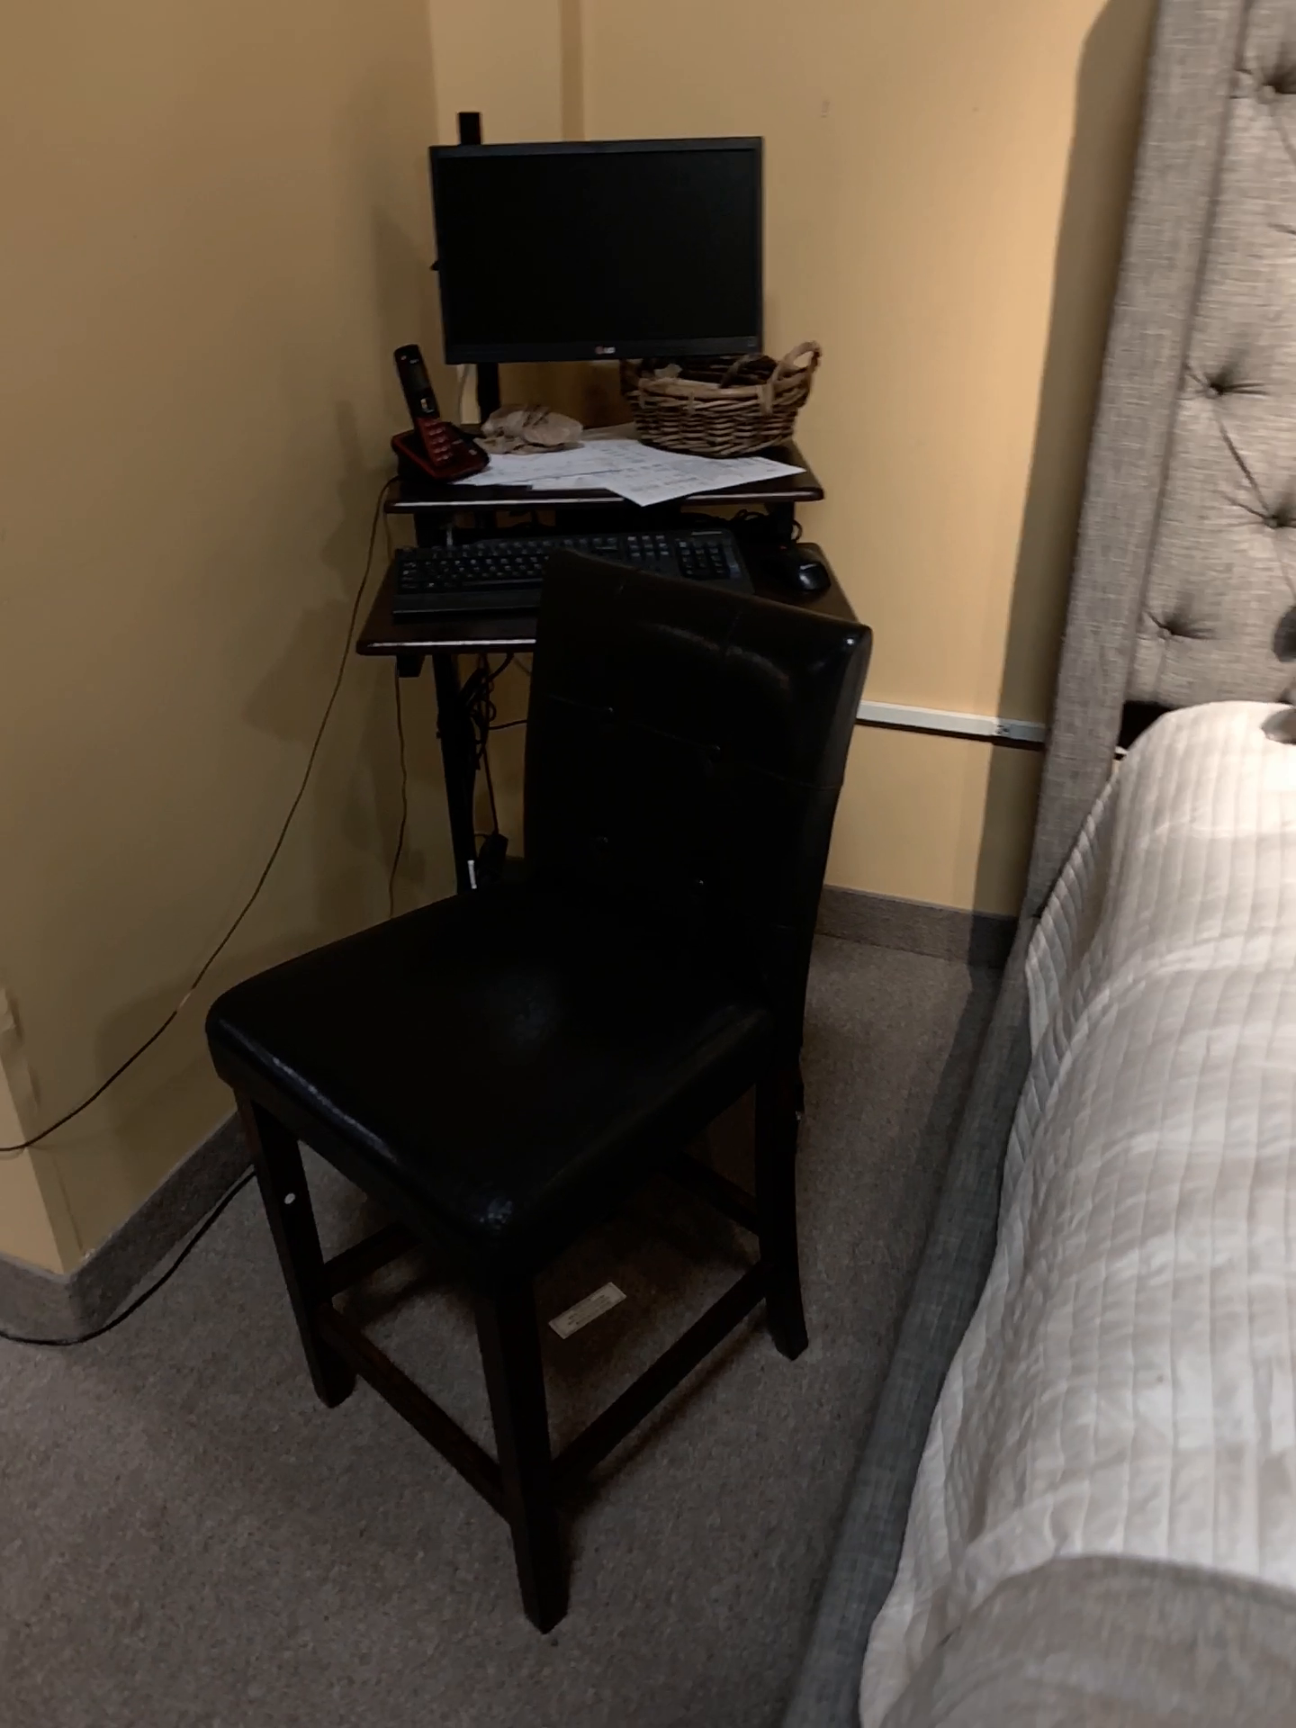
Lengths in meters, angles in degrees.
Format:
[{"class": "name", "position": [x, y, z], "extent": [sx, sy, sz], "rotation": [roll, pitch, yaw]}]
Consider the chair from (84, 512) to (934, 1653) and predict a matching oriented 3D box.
[{"class": "chair", "position": [-0.123, 0.184, 1.393], "extent": [0.560, 0.912, 0.518], "rotation": [25, 38, 38]}]
